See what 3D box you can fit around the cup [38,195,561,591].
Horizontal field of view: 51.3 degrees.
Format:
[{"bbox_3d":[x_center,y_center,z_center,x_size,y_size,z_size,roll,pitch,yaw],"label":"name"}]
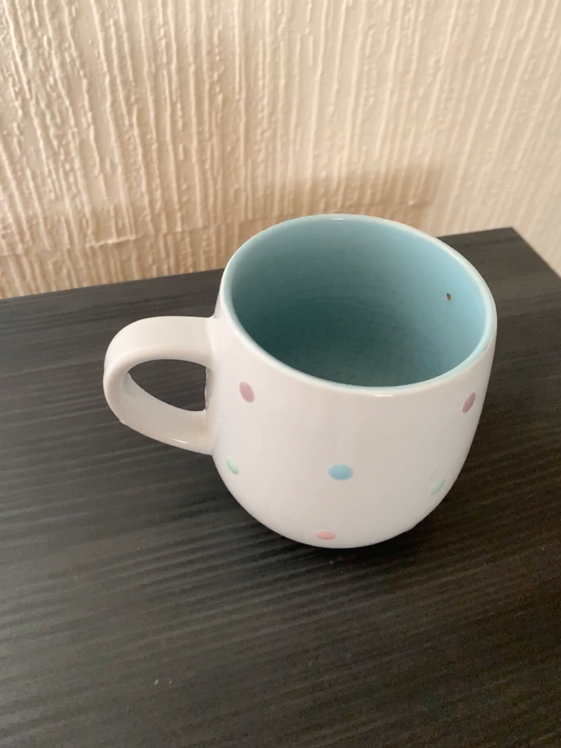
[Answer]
[{"bbox_3d":[0.004,0.009,0.212,0.130,0.099,0.101,1,47,-3],"label":"cup"}]
